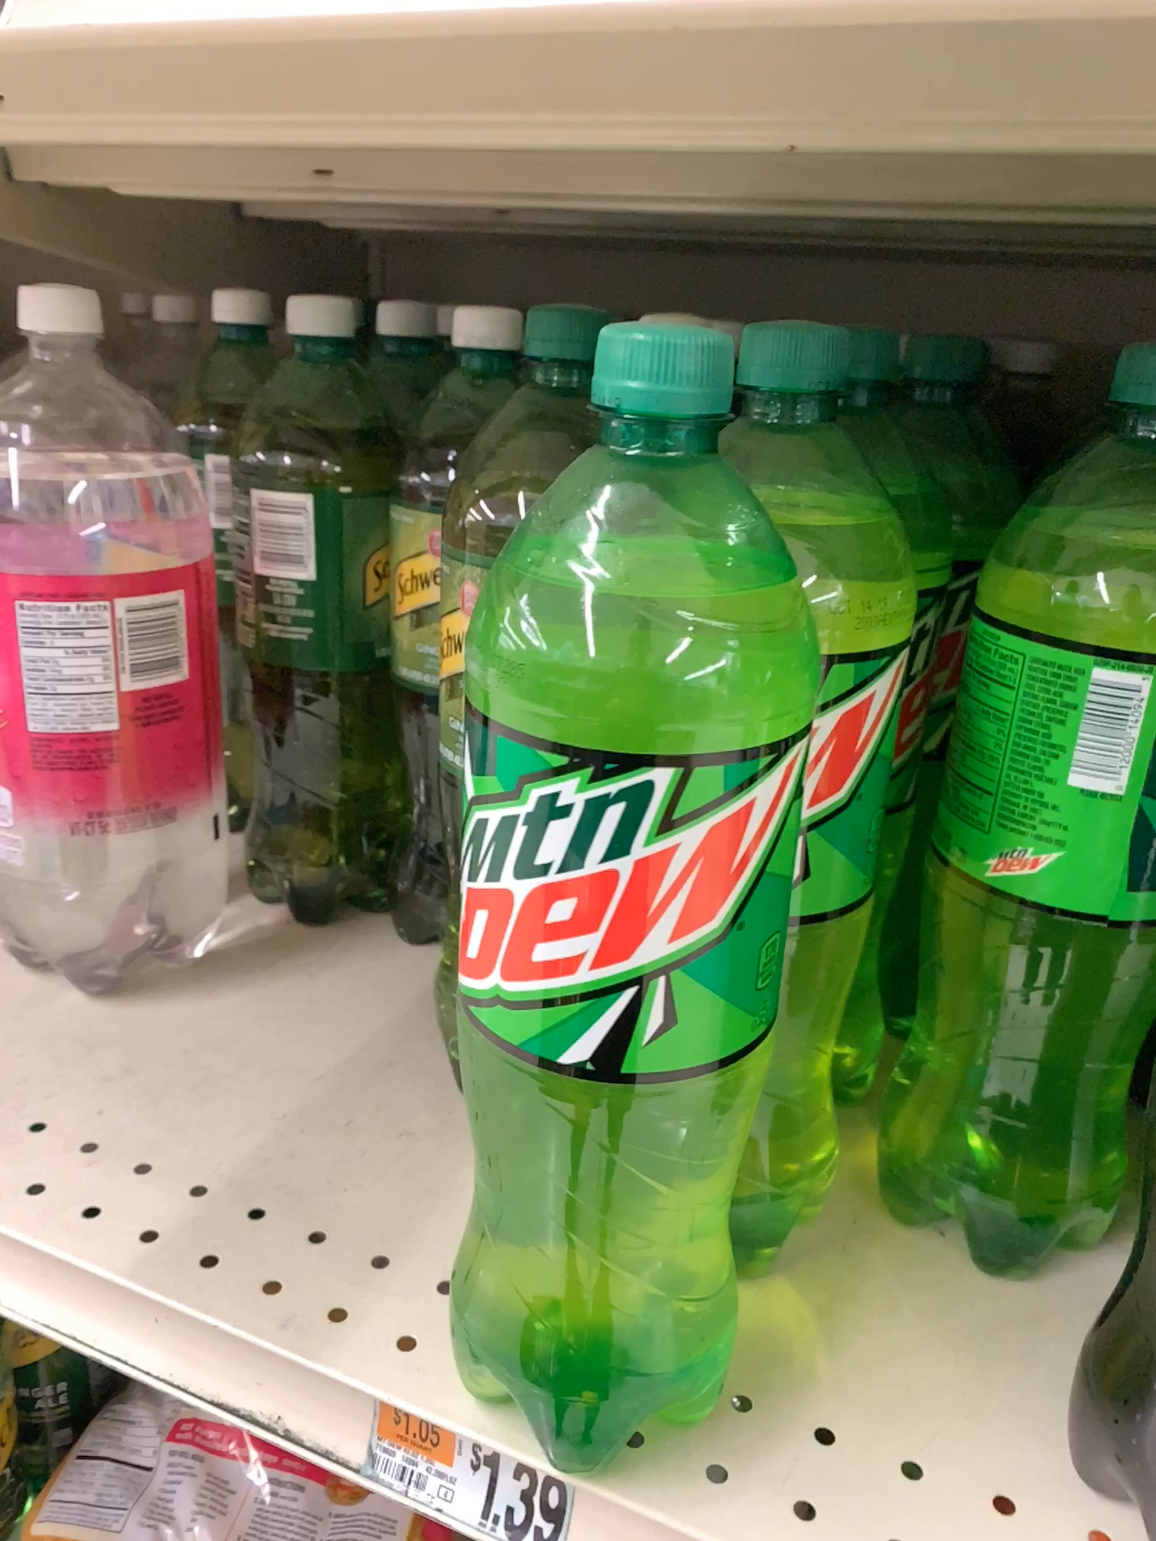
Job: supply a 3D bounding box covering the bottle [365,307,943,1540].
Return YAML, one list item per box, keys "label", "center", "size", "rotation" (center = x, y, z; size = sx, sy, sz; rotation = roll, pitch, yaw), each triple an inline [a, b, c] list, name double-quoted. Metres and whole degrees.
- label: "bottle"
  center: [0.013, 0.044, 0.314]
  size: [0.100, 0.302, 0.090]
  rotation: [13, 22, 24]
